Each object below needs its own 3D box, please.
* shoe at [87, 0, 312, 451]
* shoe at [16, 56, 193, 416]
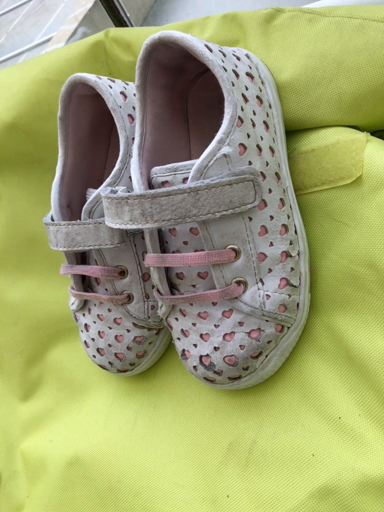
[{"bbox_3d":[0.005,-0.017,0.200,0.081,0.060,0.176,-2,90,29],"label":"shoe"},{"bbox_3d":[-0.052,-0.012,0.255,0.081,0.060,0.175,7,99,34],"label":"shoe"}]
